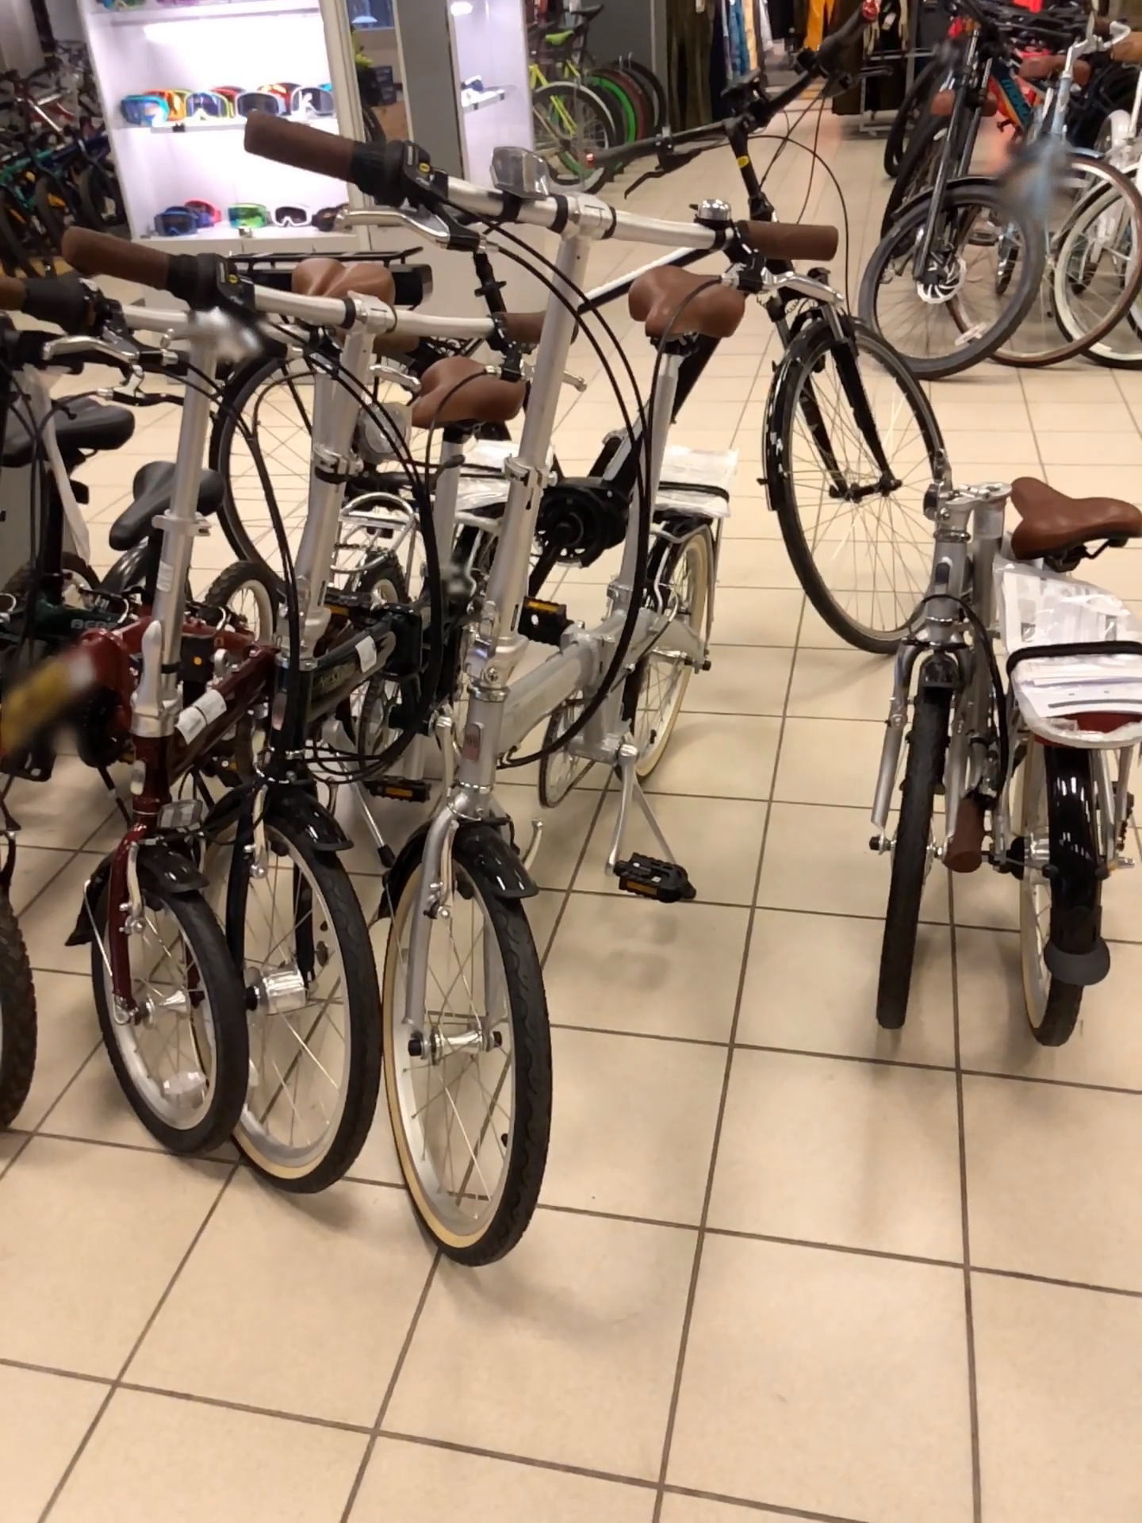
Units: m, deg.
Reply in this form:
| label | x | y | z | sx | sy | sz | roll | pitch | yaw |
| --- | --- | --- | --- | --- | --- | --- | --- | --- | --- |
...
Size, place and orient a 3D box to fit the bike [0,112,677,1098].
| label | x | y | z | sx | sy | sz | roll | pitch | yaw |
| --- | --- | --- | --- | --- | --- | --- | --- | --- | --- |
| bike | -0.201 | -0.309 | 1.883 | 0.556 | 1.036 | 1.146 | 2 | 32 | 10 |

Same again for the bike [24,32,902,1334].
| label | x | y | z | sx | sy | sz | roll | pitch | yaw |
| --- | --- | --- | --- | --- | --- | --- | --- | --- | --- |
| bike | 0.102 | -0.261 | 1.628 | 0.552 | 1.153 | 1.366 | 4 | 31 | 13 |
